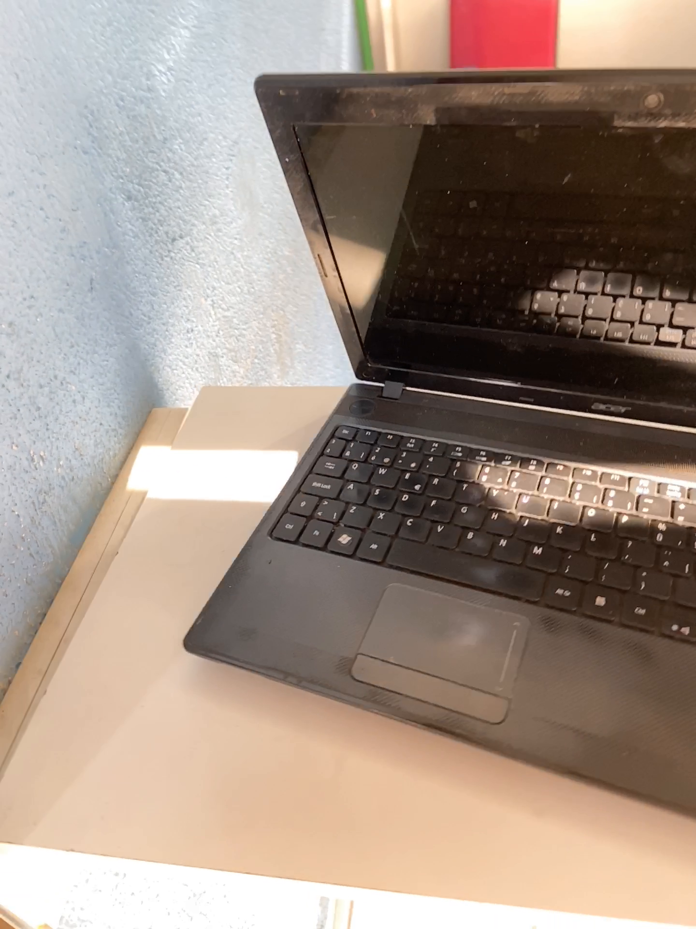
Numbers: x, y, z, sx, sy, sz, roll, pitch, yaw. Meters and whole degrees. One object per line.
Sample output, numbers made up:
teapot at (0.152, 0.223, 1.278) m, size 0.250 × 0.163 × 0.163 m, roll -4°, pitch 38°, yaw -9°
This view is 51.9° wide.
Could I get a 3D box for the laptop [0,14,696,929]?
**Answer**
laptop at (0.115, -0.036, 0.332) m, size 0.374 × 0.234 × 0.255 m, roll 11°, pitch 44°, yaw 22°
